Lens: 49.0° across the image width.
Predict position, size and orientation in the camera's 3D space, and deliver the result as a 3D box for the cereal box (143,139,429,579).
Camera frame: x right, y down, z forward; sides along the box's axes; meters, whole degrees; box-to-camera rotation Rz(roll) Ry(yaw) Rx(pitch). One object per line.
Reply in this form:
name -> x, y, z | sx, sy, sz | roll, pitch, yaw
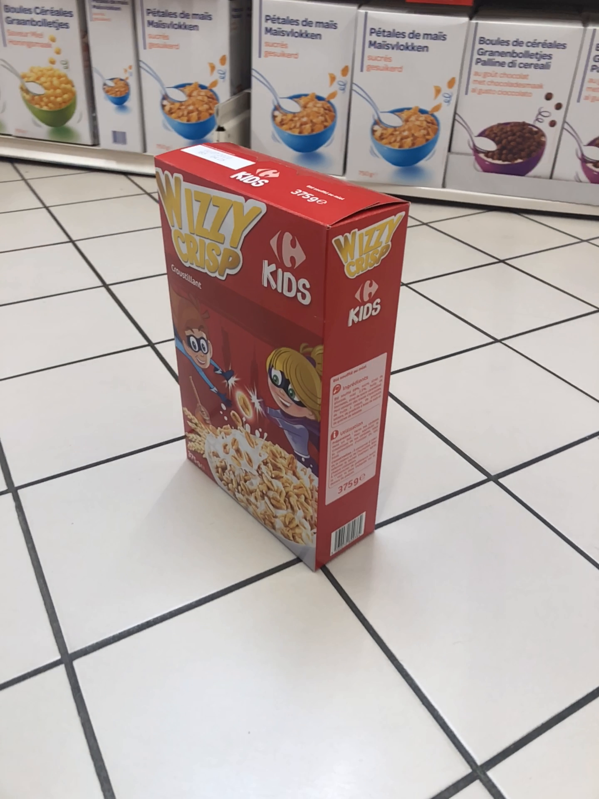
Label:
cereal box -> -0.019, -0.035, 0.516 | 0.090, 0.278, 0.190 | -25, 42, -34
